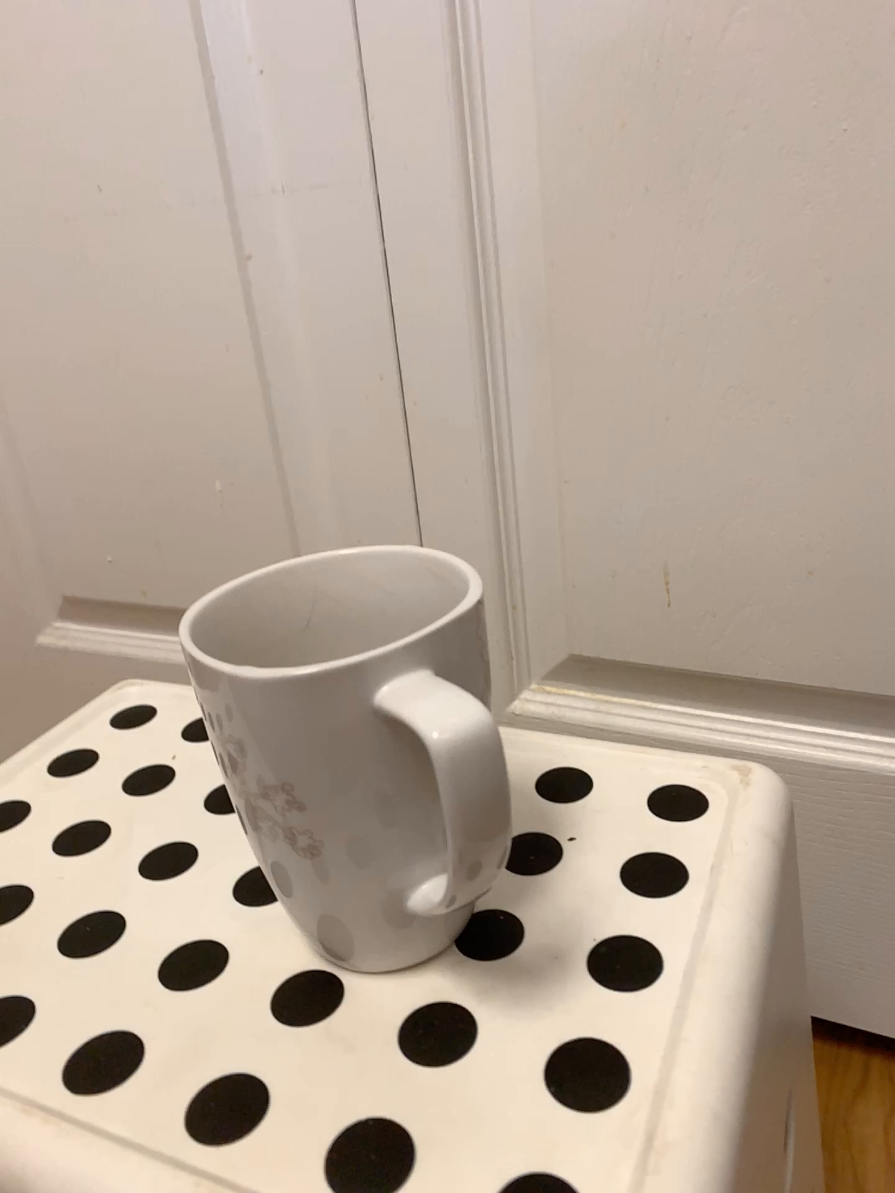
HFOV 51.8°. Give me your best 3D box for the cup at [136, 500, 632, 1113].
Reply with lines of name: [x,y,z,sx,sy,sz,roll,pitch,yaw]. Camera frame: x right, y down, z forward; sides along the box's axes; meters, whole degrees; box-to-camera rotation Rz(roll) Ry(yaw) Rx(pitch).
cup: [-0.019,0.045,0.260,0.070,0.110,0.120,-23,28,-32]
